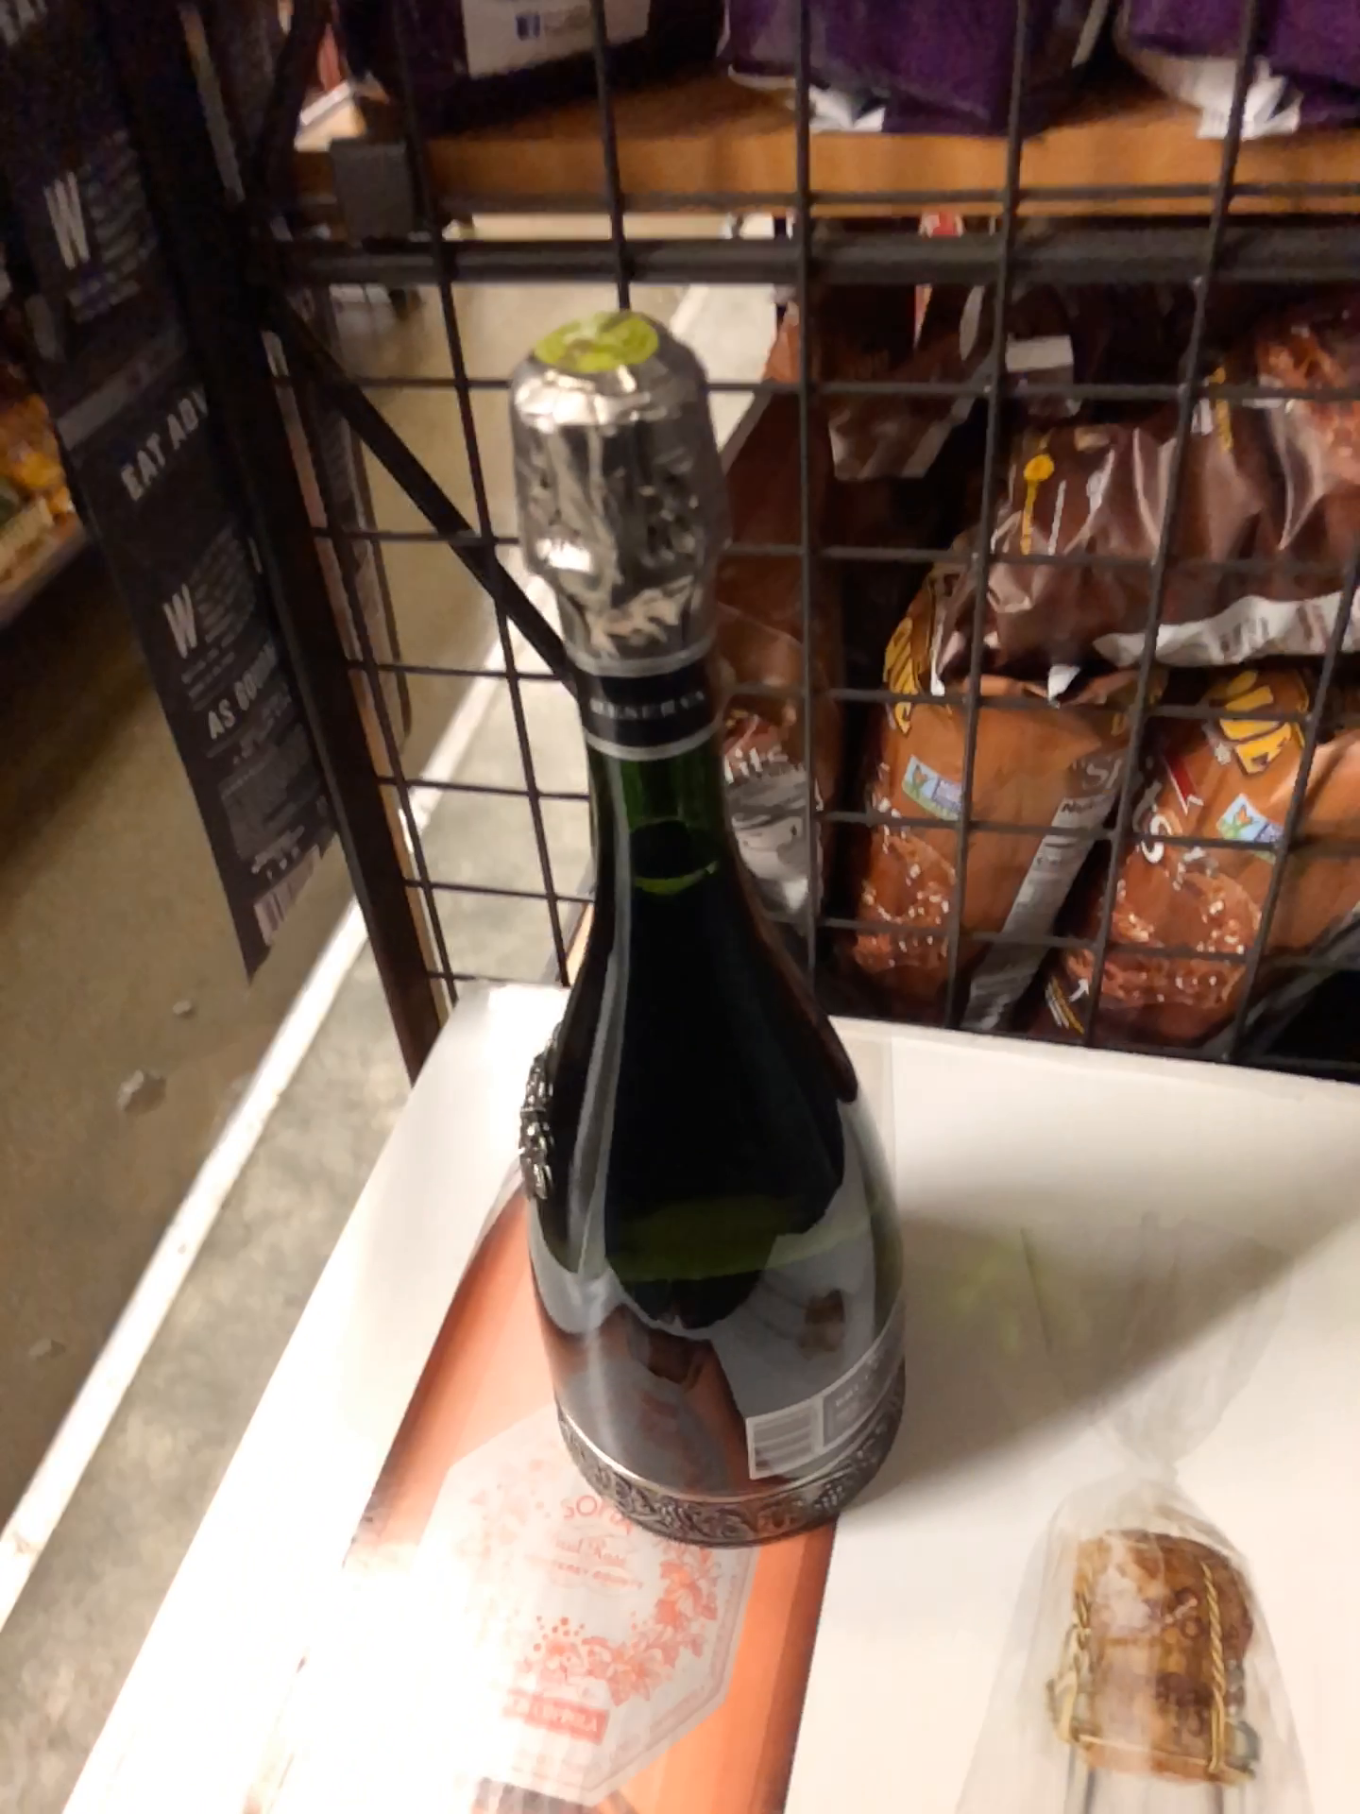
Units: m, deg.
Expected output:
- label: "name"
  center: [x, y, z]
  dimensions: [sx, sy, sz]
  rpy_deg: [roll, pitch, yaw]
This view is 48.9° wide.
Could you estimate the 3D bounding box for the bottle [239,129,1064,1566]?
- label: "bottle"
  center: [0.010, 0.018, 0.354]
  dimensions: [0.110, 0.332, 0.122]
  rpy_deg: [0, 42, 6]
